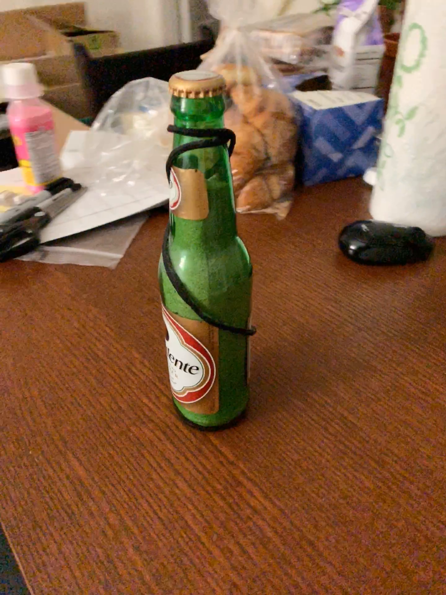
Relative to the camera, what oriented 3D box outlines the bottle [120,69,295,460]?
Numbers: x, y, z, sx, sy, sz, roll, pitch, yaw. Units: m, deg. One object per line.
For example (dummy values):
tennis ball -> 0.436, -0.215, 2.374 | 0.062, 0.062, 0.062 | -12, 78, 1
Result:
bottle -> -0.011, -0.007, 0.299 | 0.070, 0.239, 0.080 | -9, 38, -11
